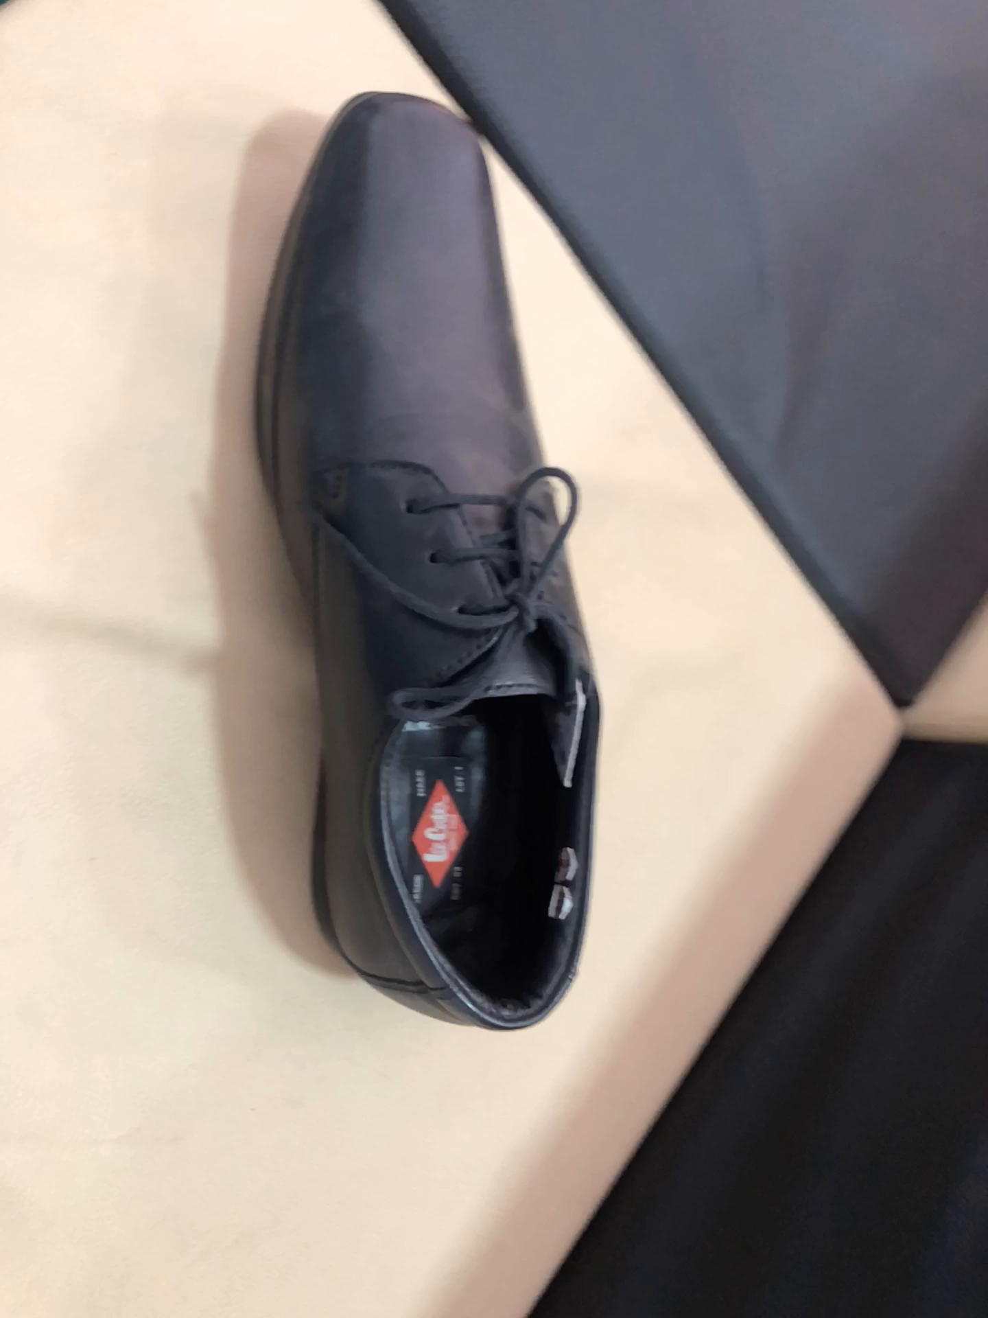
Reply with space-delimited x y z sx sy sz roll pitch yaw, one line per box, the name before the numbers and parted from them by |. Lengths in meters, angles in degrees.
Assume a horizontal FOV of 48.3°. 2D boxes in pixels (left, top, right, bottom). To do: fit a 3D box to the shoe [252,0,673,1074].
shoe | -0.011 -0.038 0.315 0.090 0.080 0.270 -1 91 -29
